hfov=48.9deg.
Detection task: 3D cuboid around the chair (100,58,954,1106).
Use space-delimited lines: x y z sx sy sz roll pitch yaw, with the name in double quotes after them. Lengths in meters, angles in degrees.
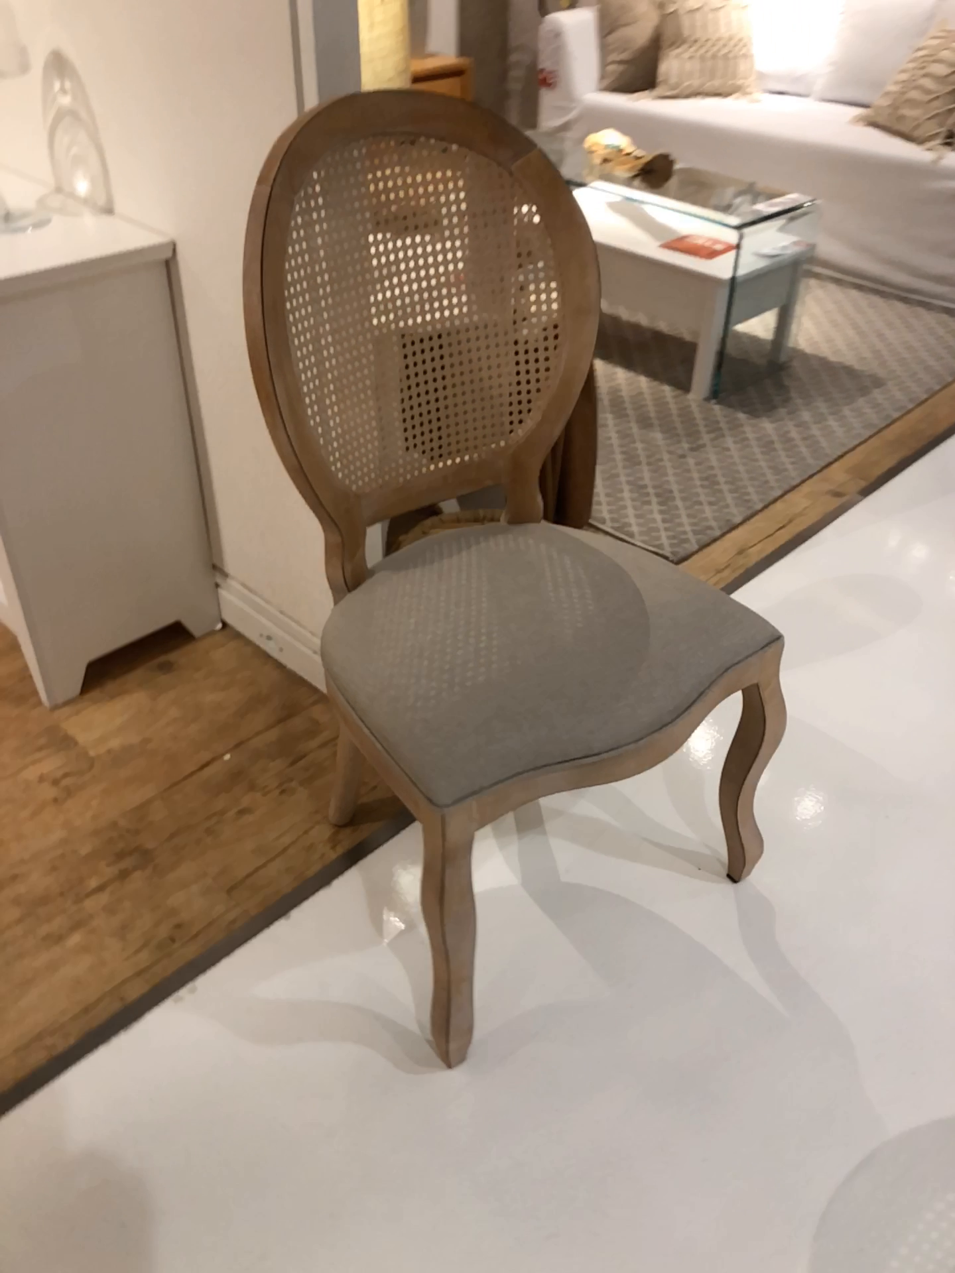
0.034 -0.078 1.236 0.592 0.962 0.523 -23 42 -29 "chair"
